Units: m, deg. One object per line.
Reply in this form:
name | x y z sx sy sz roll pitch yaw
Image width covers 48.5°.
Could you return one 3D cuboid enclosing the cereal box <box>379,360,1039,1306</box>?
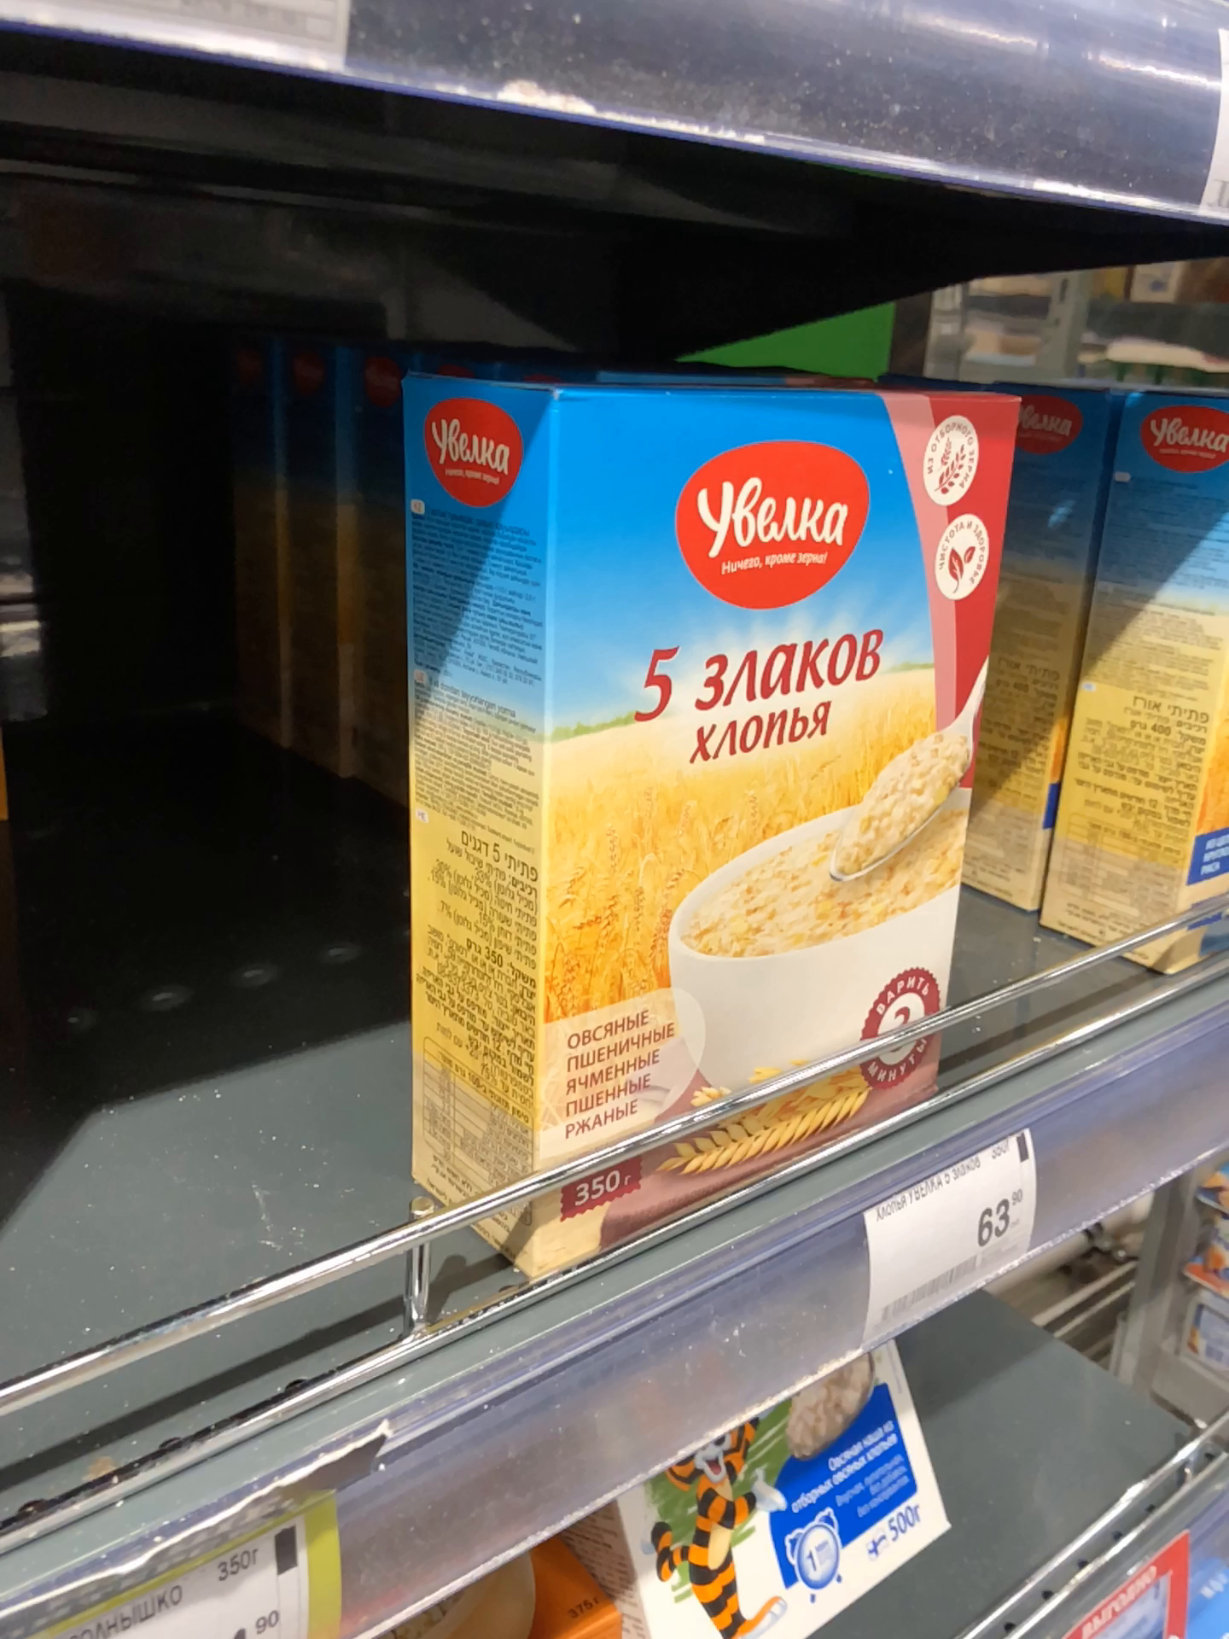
cereal box | 0.024 -0.007 0.325 0.150 0.189 0.050 -12 23 -38
